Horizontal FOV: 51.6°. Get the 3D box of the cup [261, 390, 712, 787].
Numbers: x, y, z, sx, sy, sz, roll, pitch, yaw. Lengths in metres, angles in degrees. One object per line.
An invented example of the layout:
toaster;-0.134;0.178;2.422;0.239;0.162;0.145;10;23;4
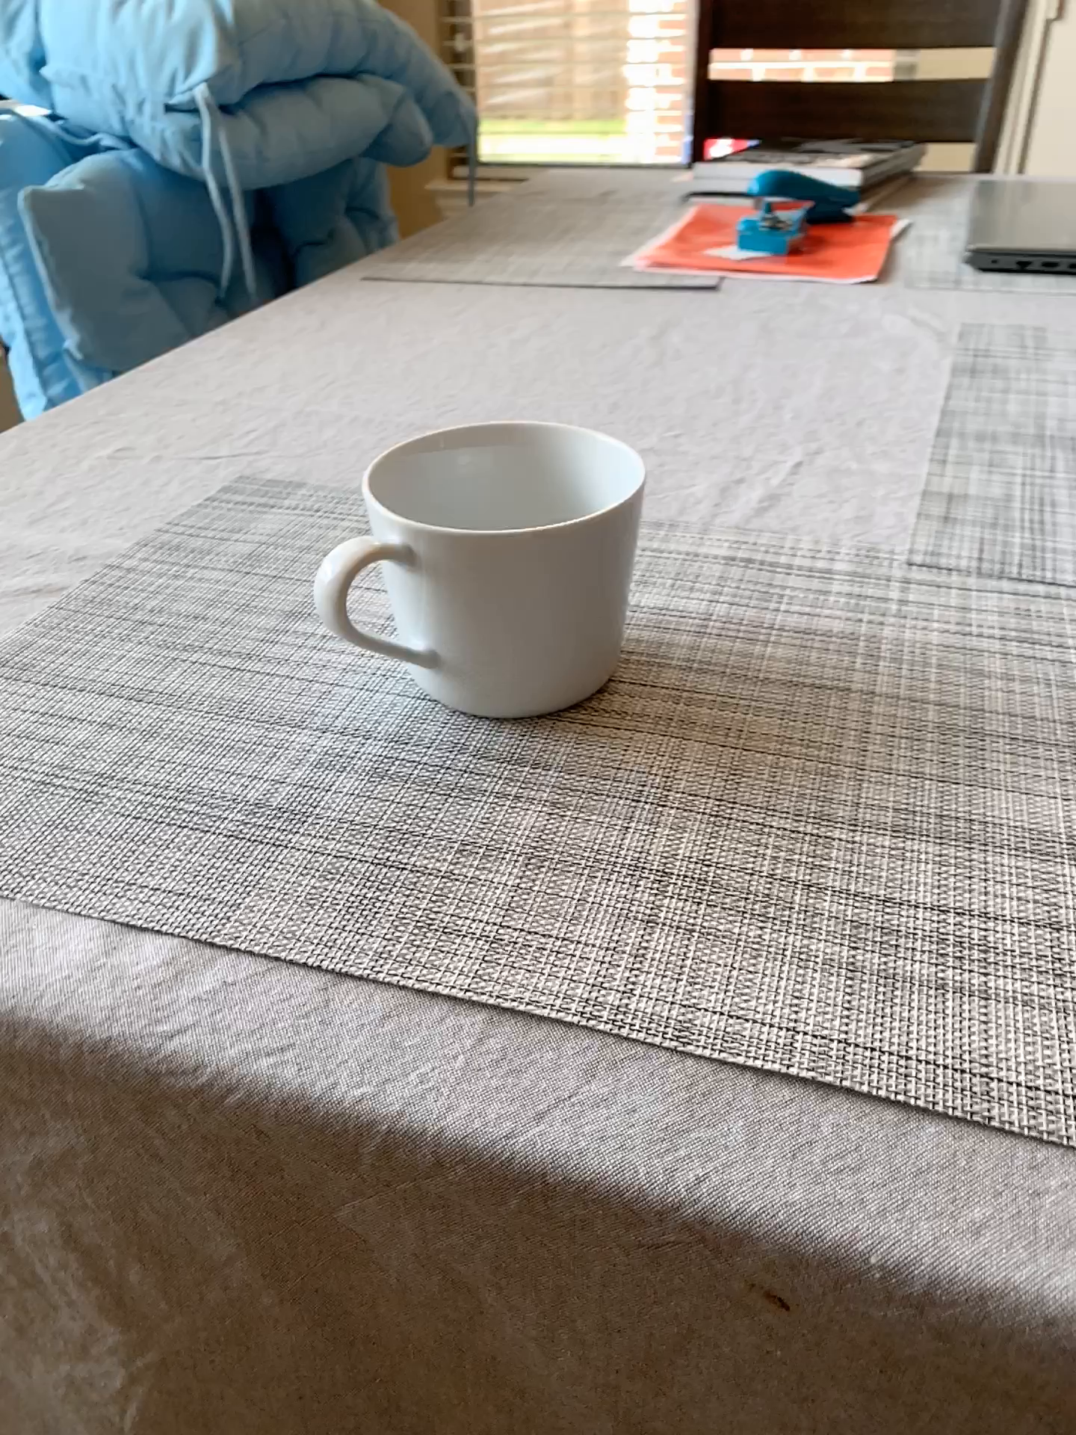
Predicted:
cup;-0.015;-0.055;0.408;0.100;0.081;0.121;26;43;35
